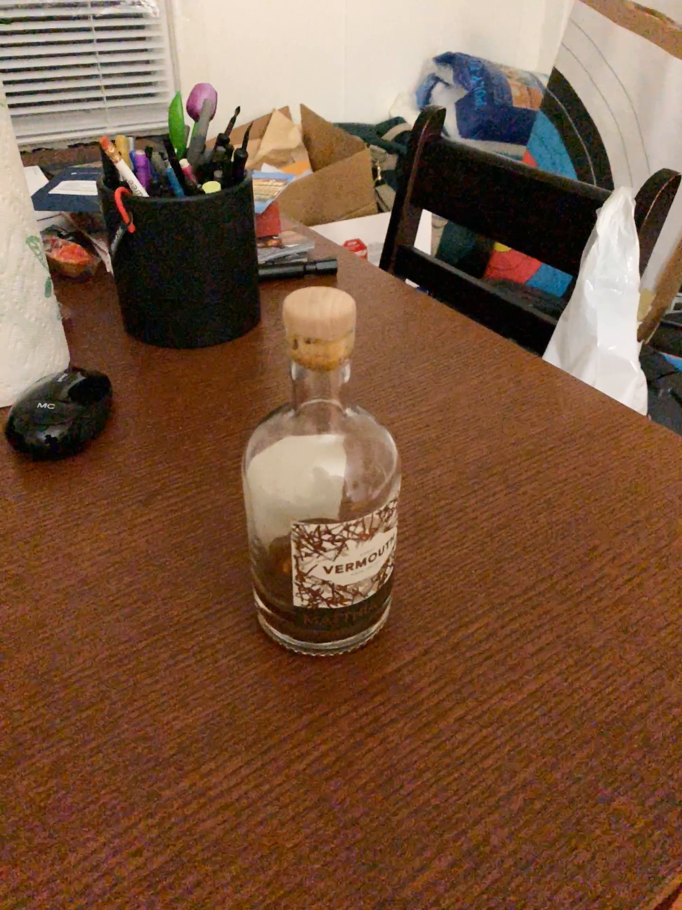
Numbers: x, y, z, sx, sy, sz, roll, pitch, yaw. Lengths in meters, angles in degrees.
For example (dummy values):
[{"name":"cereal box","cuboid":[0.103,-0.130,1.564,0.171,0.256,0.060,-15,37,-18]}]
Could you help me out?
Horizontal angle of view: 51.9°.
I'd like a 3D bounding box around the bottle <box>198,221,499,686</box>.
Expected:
[{"name":"bottle","cuboid":[0.001,0.002,0.335,0.090,0.189,0.080,-23,43,-29]}]
